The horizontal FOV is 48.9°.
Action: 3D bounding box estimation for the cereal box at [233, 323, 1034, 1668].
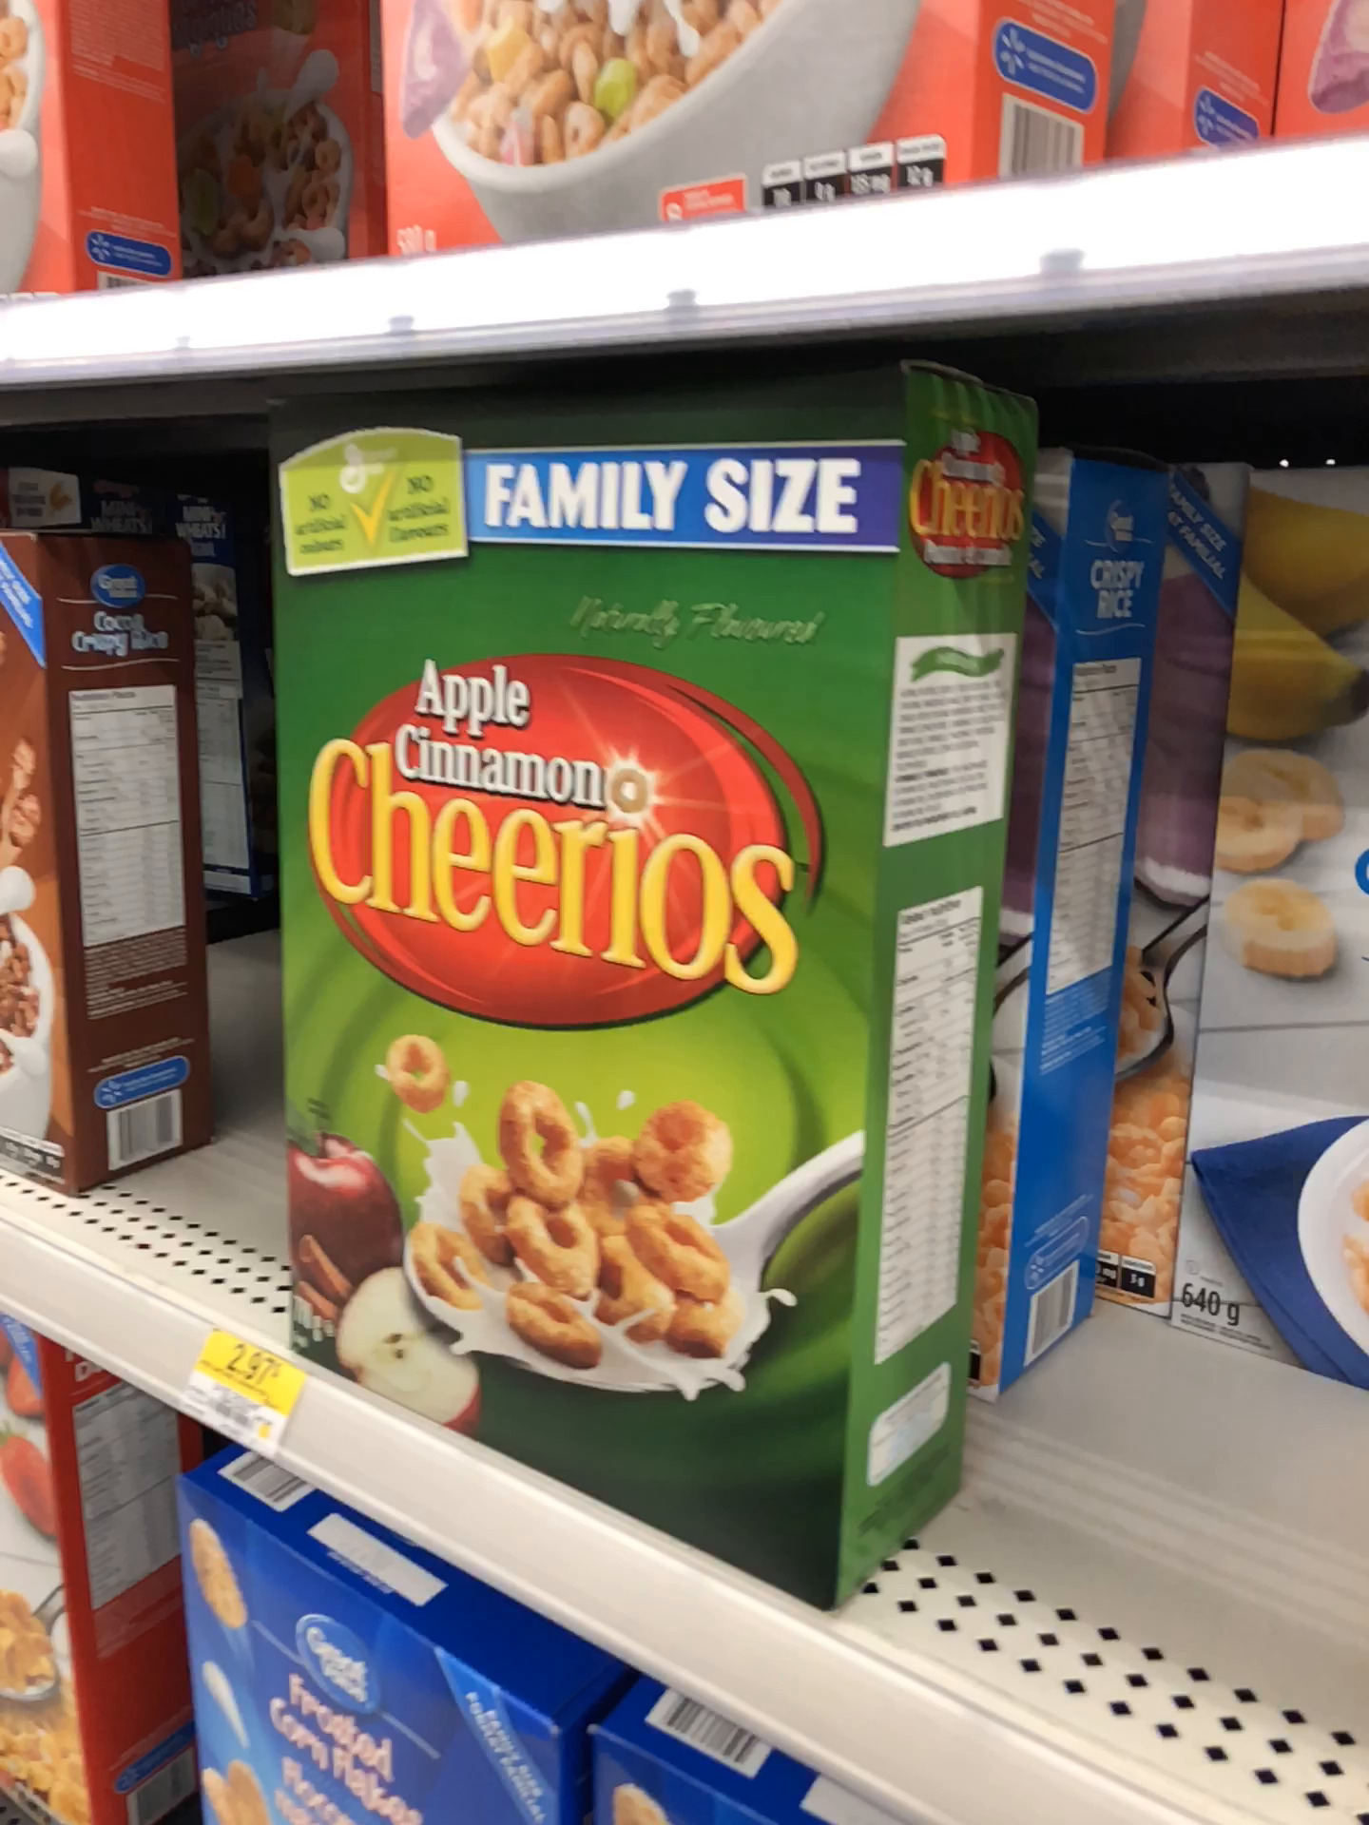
[{"bbox_3d":[-0.029,0.012,0.494,0.240,0.358,0.090,11,16,37],"label":"cereal box"}]
